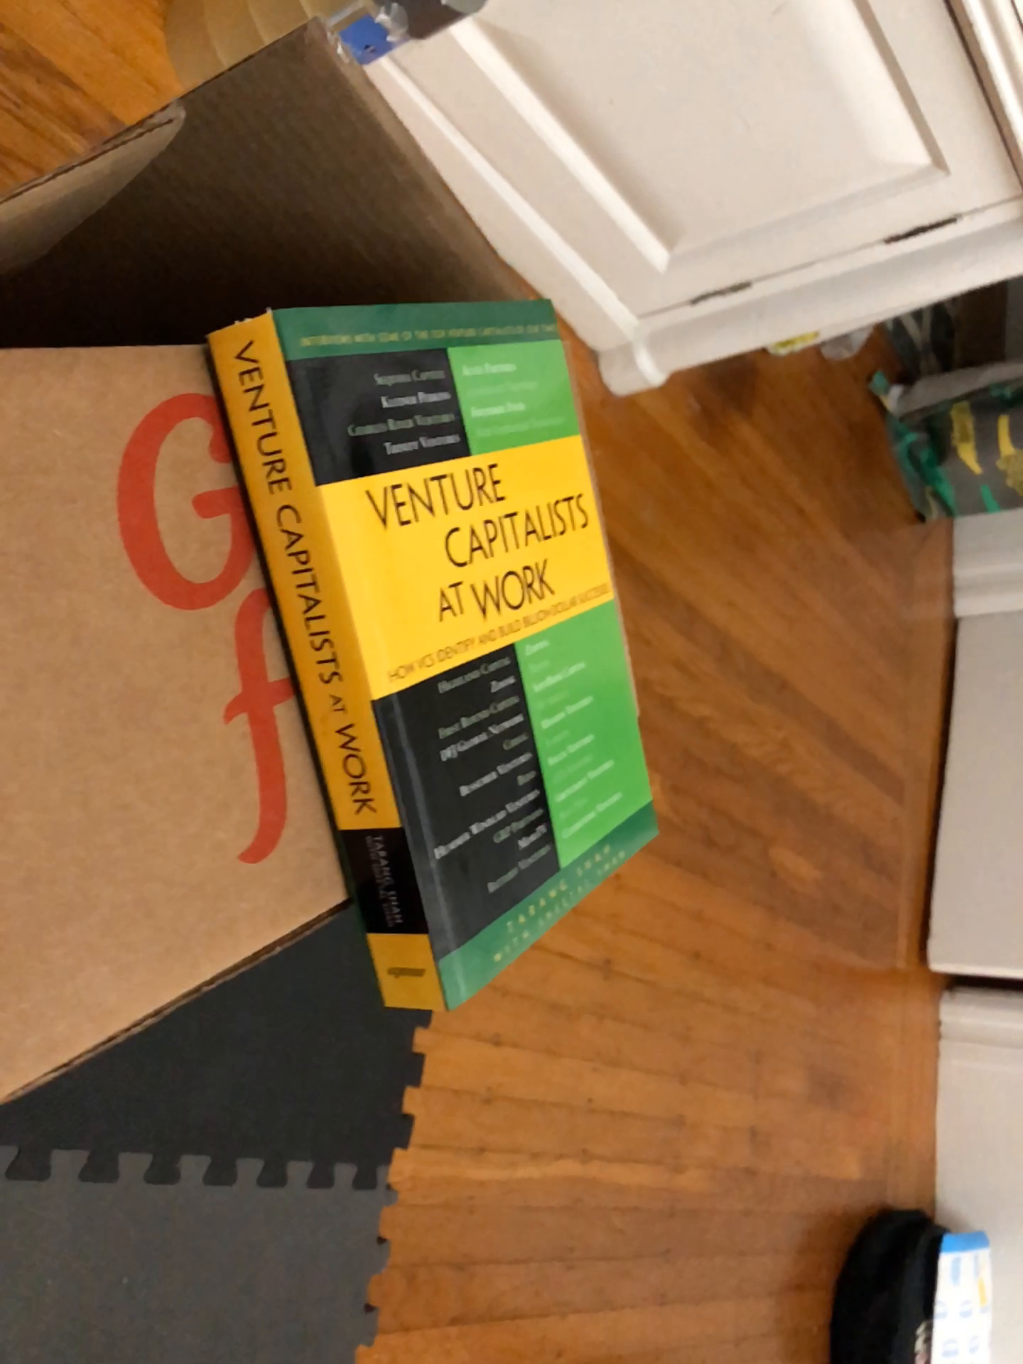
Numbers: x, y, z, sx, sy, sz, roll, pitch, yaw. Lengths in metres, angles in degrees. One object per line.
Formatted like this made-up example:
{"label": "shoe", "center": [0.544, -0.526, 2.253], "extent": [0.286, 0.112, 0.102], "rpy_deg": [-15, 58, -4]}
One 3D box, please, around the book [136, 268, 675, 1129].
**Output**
{"label": "book", "center": [-0.020, -0.007, 0.402], "extent": [0.161, 0.040, 0.260], "rpy_deg": [-26, 107, -51]}
